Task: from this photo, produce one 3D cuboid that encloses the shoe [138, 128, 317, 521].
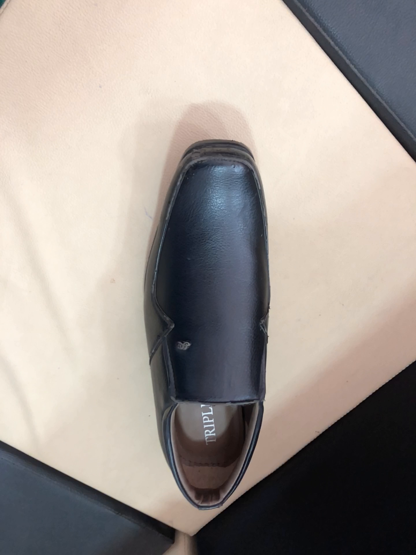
[{"bbox_3d":[0.000,0.048,0.363,0.100,0.090,0.301,1,116,-6],"label":"shoe"}]
